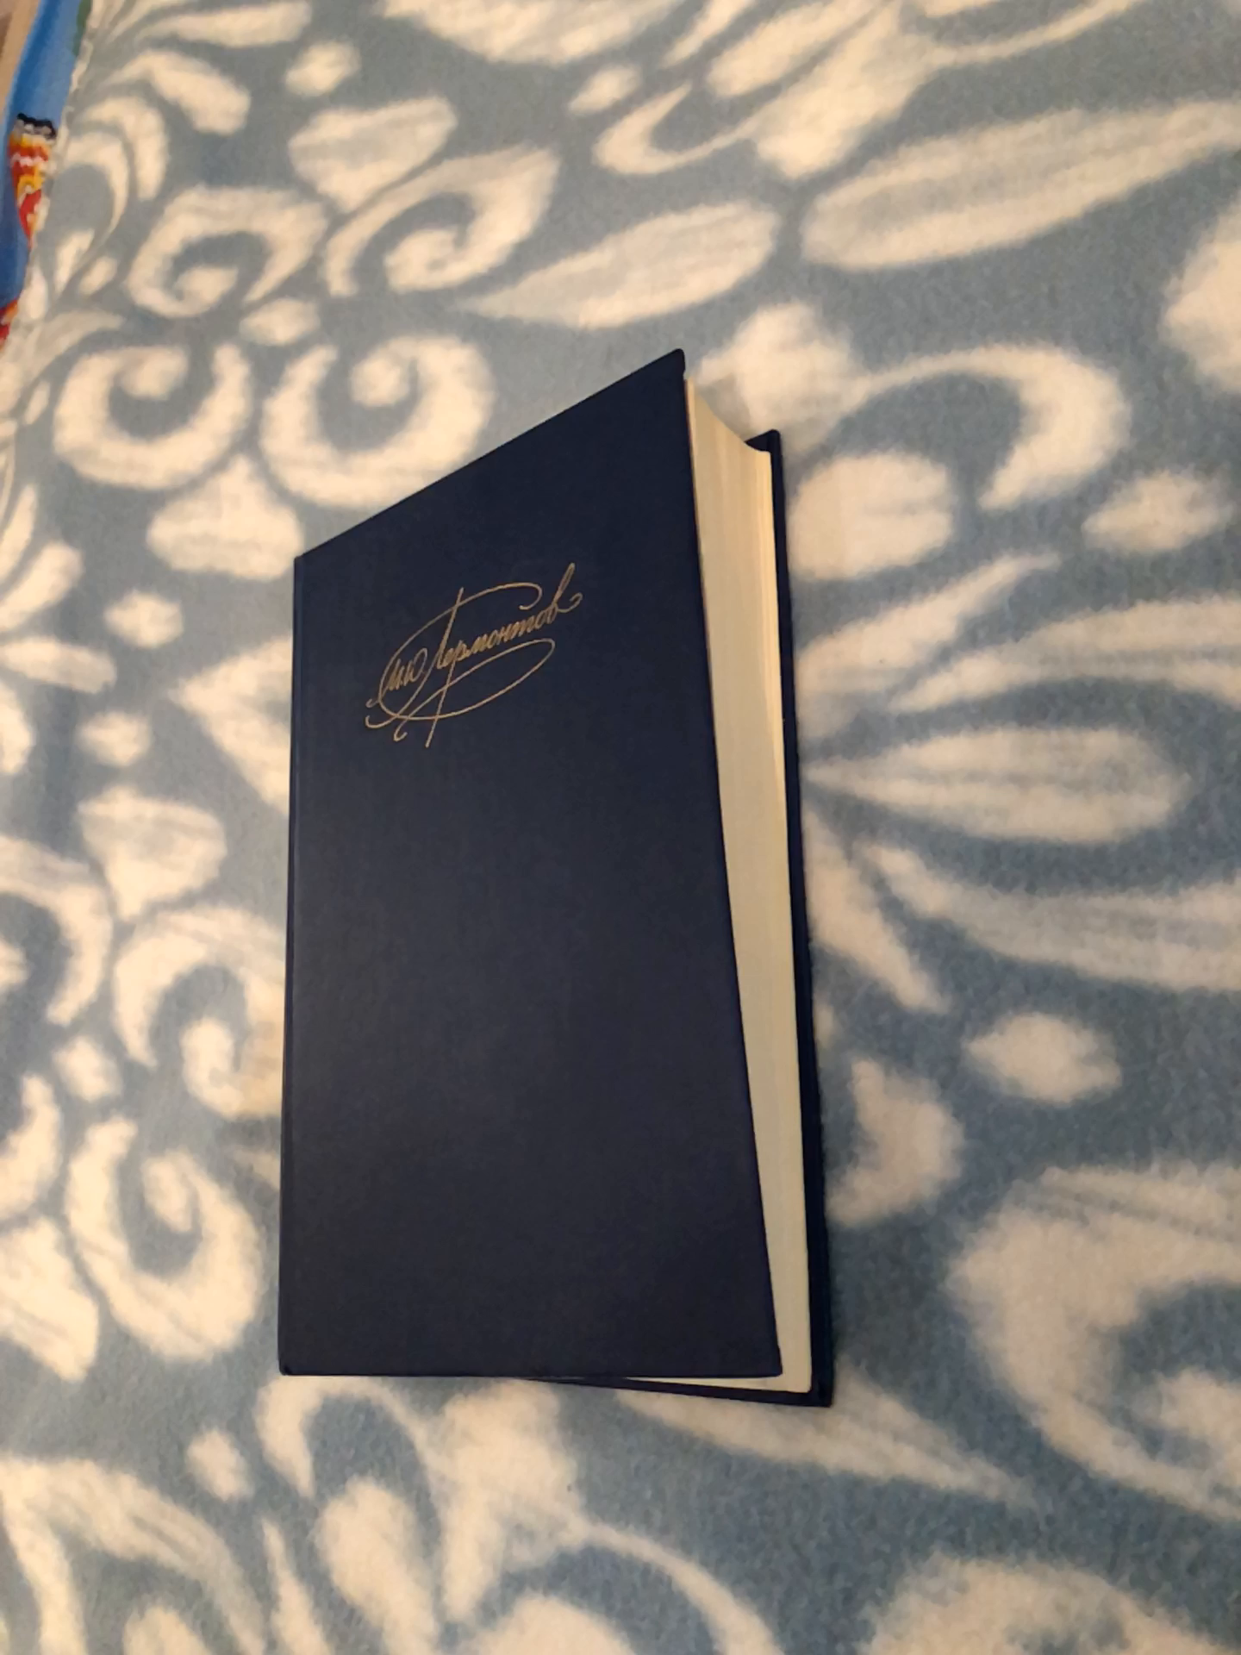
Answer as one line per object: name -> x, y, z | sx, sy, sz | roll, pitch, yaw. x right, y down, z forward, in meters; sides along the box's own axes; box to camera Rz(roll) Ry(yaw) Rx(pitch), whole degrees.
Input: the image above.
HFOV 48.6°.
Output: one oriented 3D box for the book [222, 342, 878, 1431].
book -> -0.024, 0.018, 0.301 | 0.139, 0.040, 0.200 | -16, 68, 37
